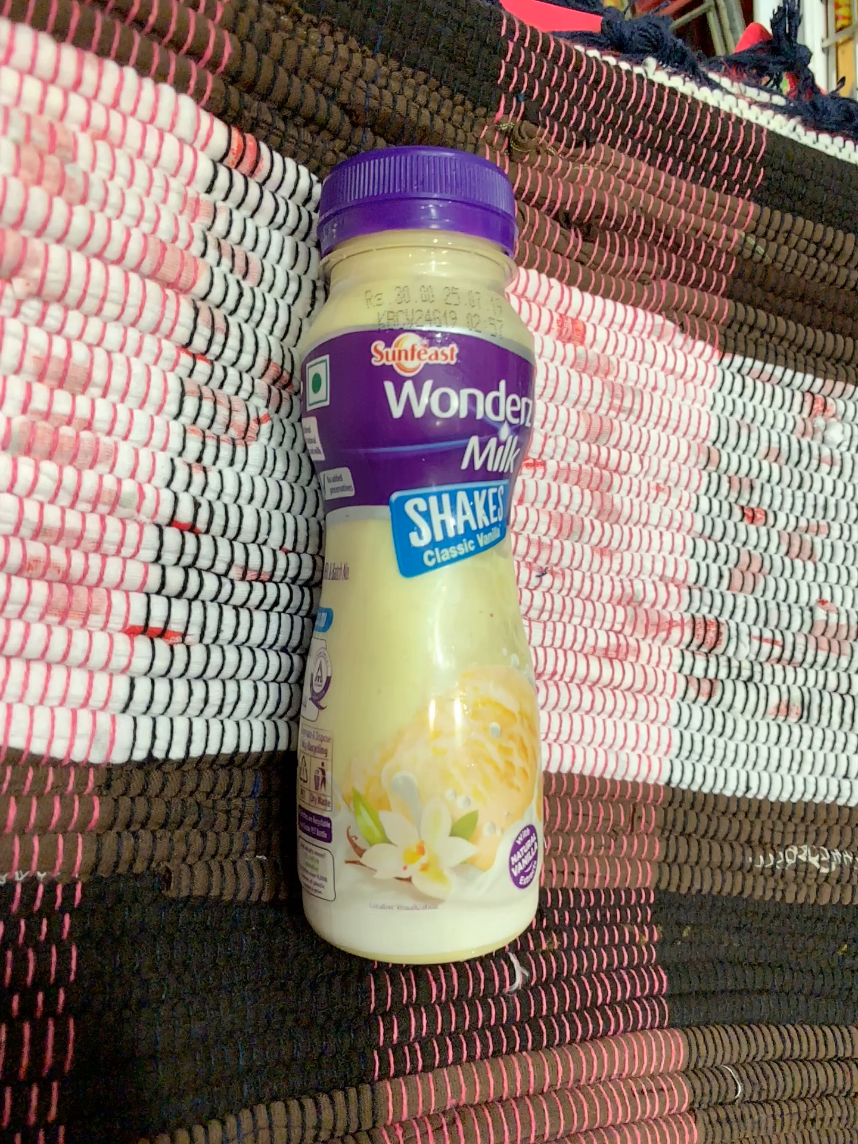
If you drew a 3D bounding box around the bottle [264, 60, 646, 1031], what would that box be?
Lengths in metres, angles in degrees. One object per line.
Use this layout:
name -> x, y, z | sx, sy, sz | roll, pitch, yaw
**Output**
bottle -> 0.003, -0.004, 0.184 | 0.060, 0.050, 0.160 | -1, 92, -29
